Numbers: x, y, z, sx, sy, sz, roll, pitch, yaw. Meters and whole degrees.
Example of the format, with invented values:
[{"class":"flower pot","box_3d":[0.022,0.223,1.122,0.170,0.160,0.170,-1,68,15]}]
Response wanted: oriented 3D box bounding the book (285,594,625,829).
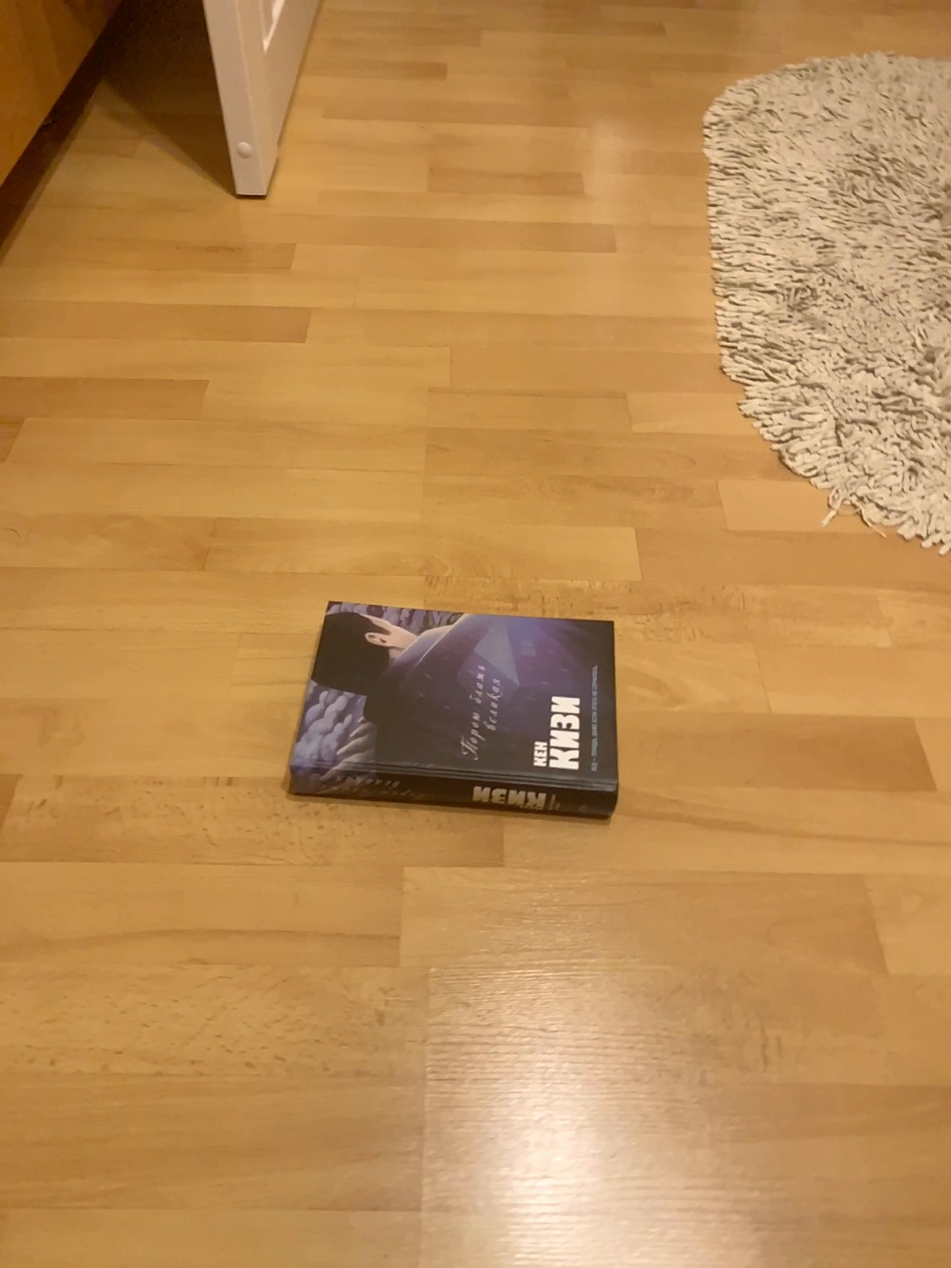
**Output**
[{"class":"book","box_3d":[-0.009,0.052,0.699,0.224,0.050,0.151,4,52,2]}]
